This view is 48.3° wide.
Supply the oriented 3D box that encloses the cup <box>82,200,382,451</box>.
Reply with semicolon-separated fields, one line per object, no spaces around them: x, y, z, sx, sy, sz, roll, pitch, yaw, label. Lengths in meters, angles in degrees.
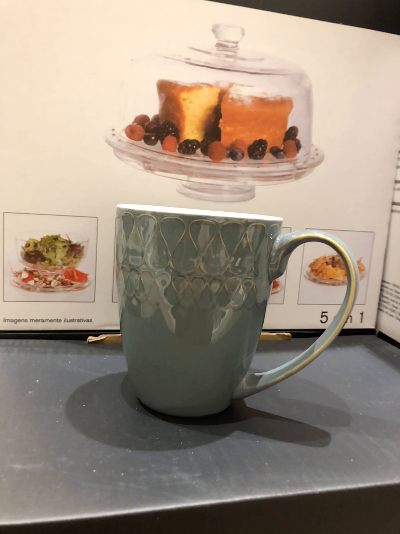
0.017;0.020;0.248;0.130;0.100;0.090;6;10;10;cup
